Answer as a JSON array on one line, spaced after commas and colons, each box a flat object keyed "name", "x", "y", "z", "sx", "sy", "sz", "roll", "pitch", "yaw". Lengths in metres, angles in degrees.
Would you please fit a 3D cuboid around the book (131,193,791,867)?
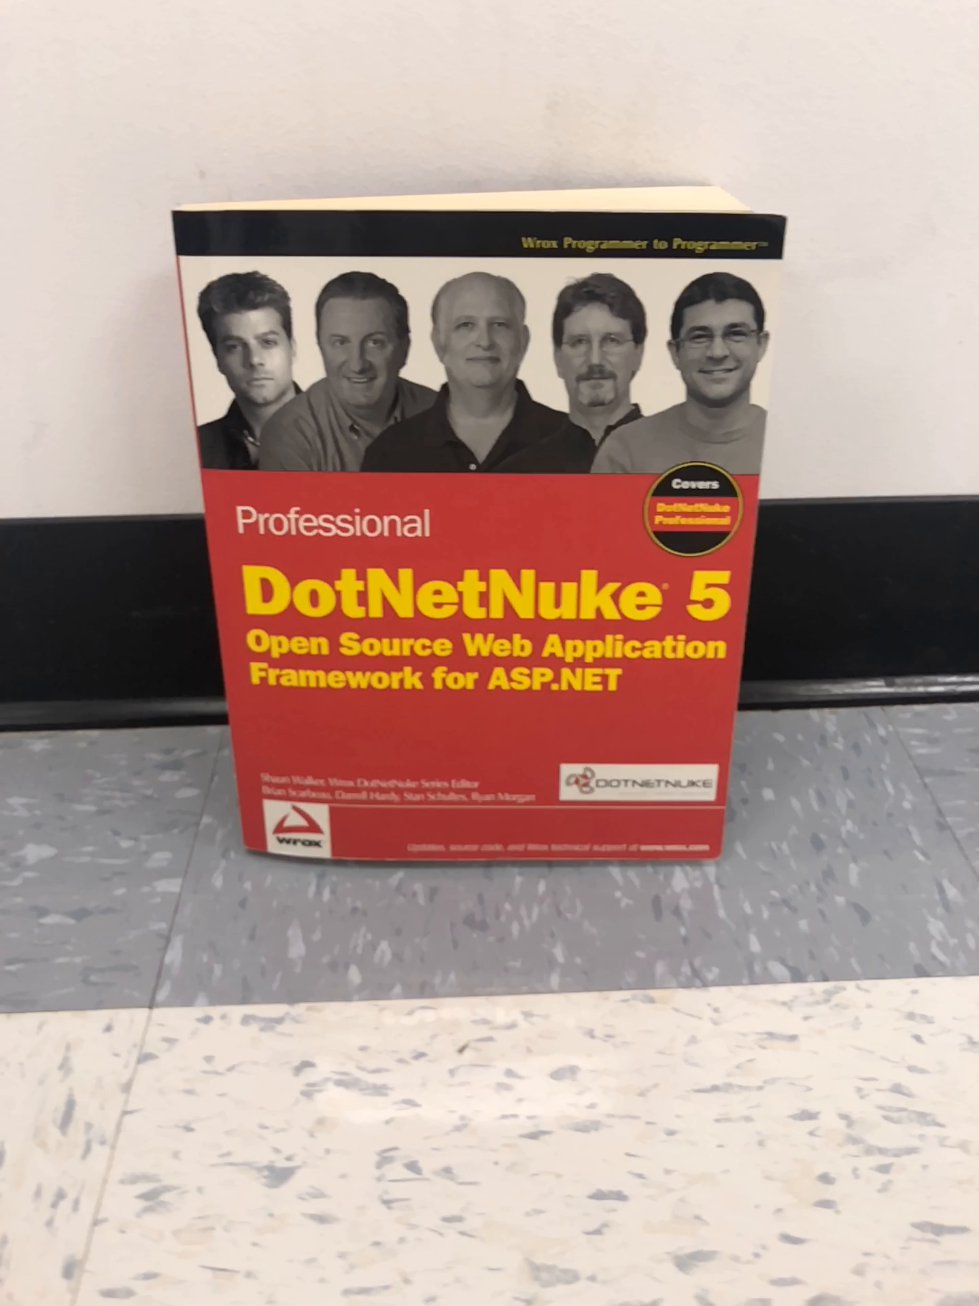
[{"name": "book", "x": -0.009, "y": -0.042, "z": 0.419, "sx": 0.210, "sy": 0.249, "sz": 0.060, "roll": 1, "pitch": 22, "yaw": 1}]
